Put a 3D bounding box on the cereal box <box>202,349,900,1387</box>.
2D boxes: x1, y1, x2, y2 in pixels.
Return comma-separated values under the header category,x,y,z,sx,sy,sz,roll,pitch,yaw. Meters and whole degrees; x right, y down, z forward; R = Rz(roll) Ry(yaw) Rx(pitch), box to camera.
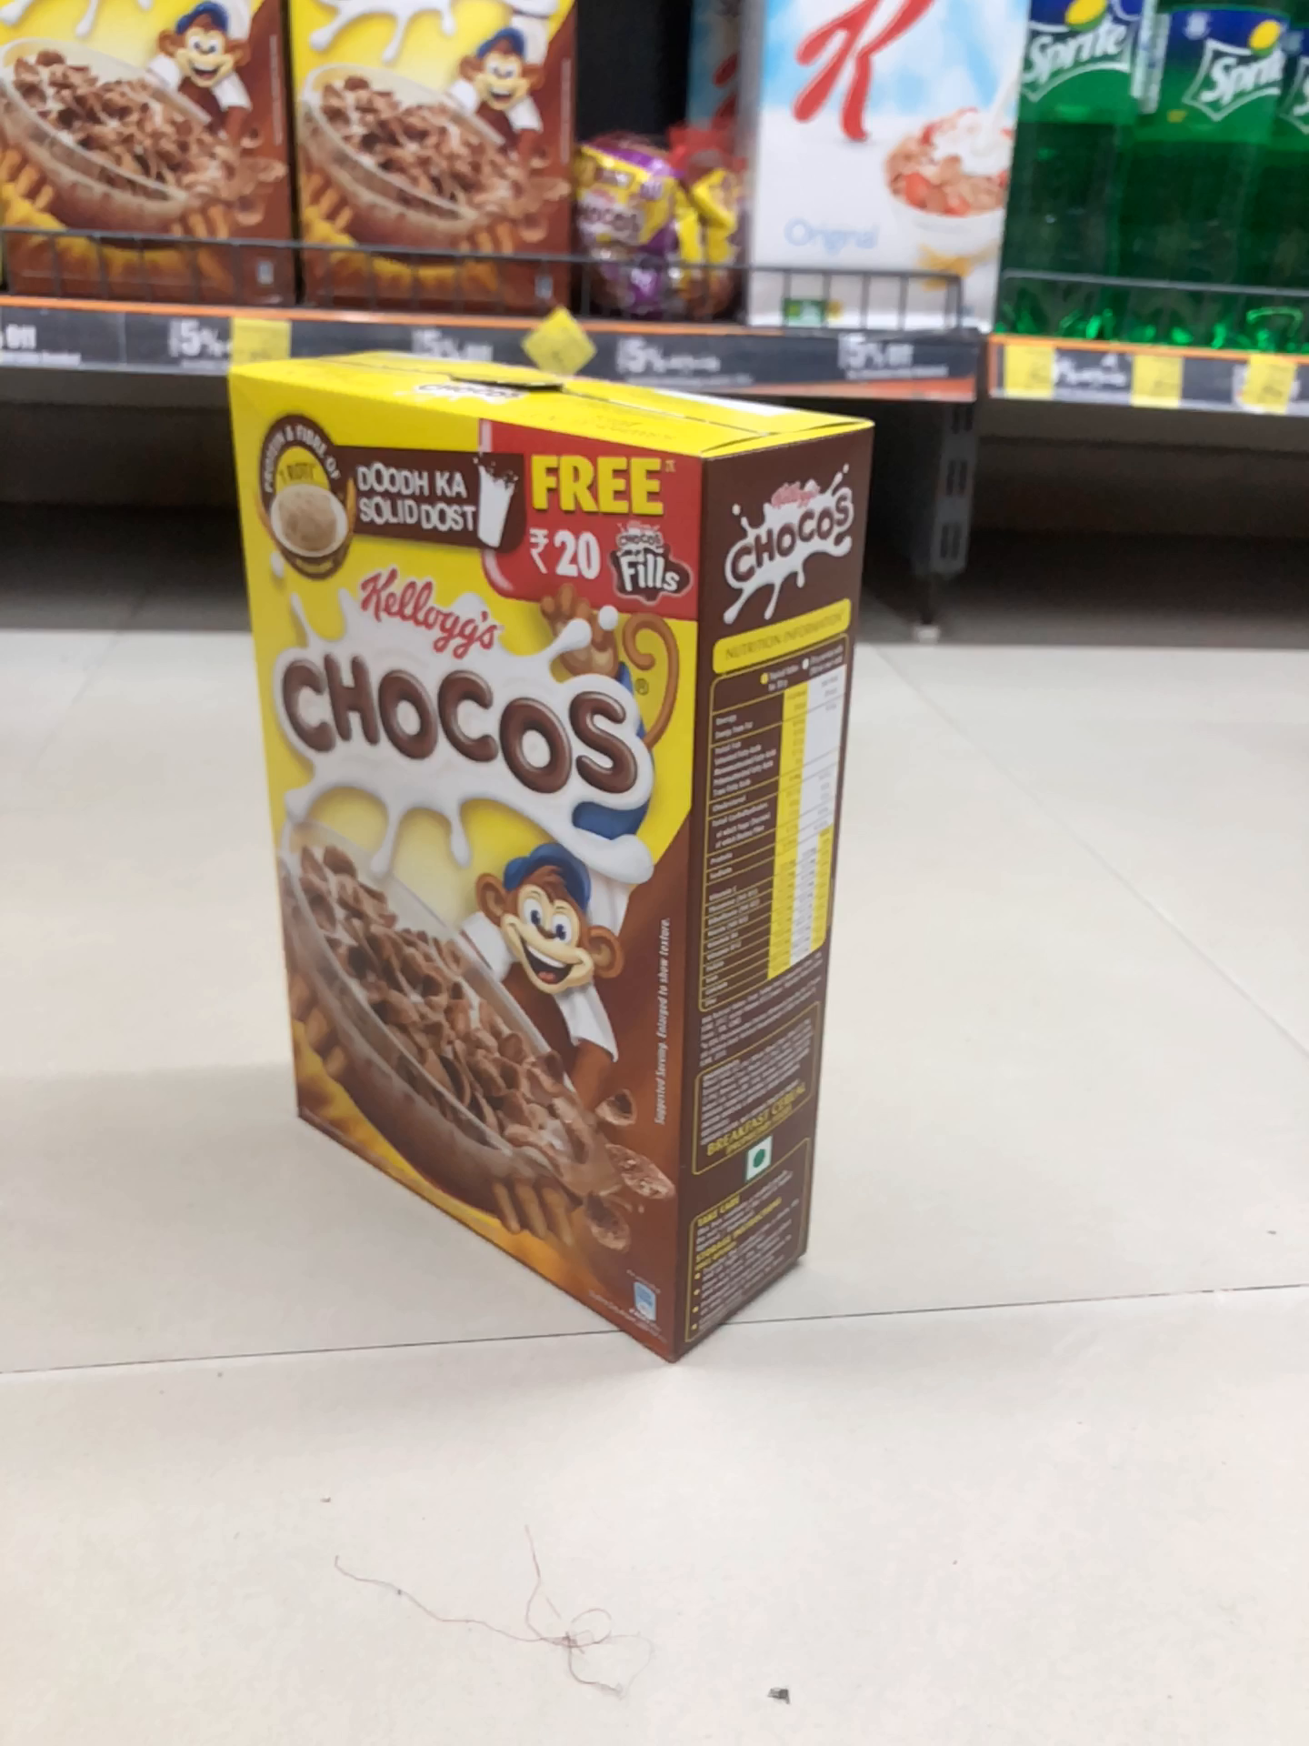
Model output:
category,x,y,z,sx,sy,sz,roll,pitch,yaw
cereal box,-0.037,-0.010,0.440,0.190,0.259,0.070,22,33,36
